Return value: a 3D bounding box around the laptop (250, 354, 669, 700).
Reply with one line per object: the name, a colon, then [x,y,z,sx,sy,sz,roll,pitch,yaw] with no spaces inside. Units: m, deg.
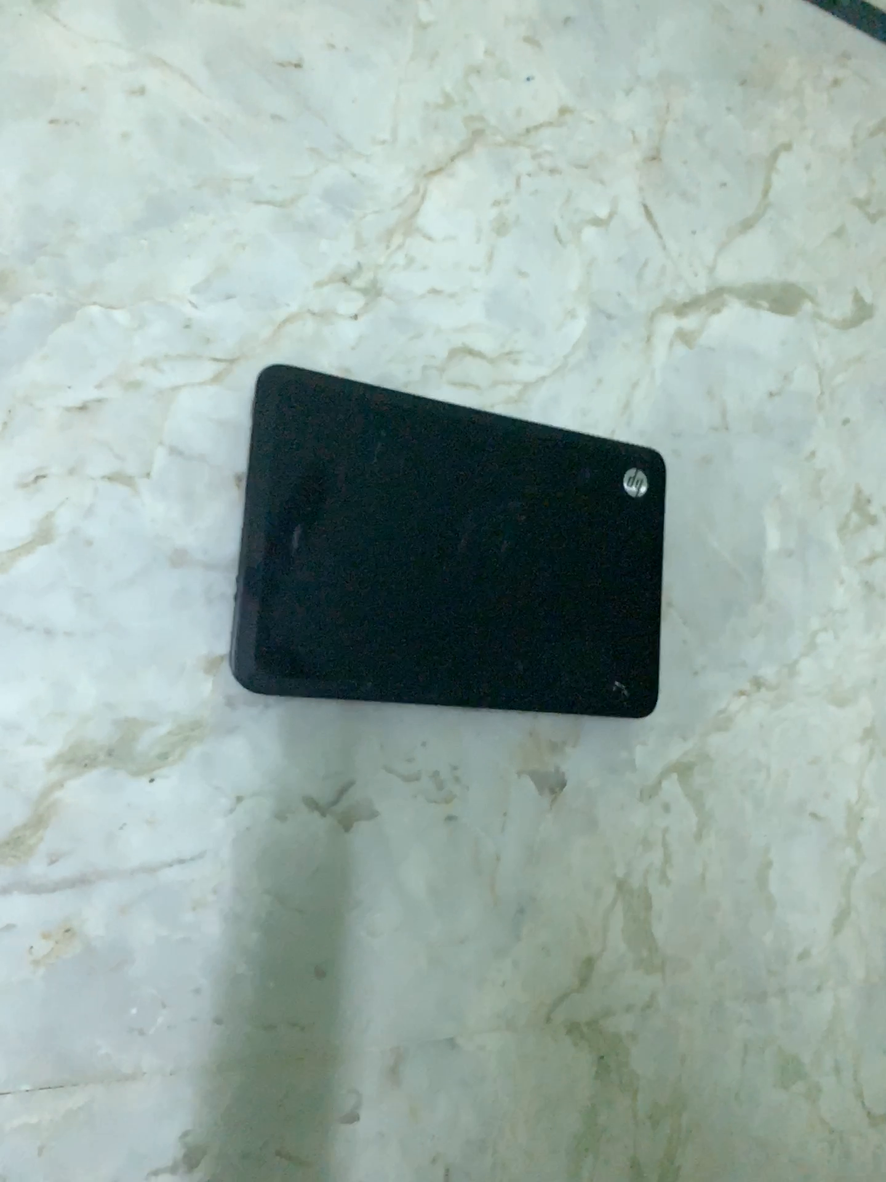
laptop: [0.027,-0.039,0.695,0.333,0.022,0.221,7,75,-25]
